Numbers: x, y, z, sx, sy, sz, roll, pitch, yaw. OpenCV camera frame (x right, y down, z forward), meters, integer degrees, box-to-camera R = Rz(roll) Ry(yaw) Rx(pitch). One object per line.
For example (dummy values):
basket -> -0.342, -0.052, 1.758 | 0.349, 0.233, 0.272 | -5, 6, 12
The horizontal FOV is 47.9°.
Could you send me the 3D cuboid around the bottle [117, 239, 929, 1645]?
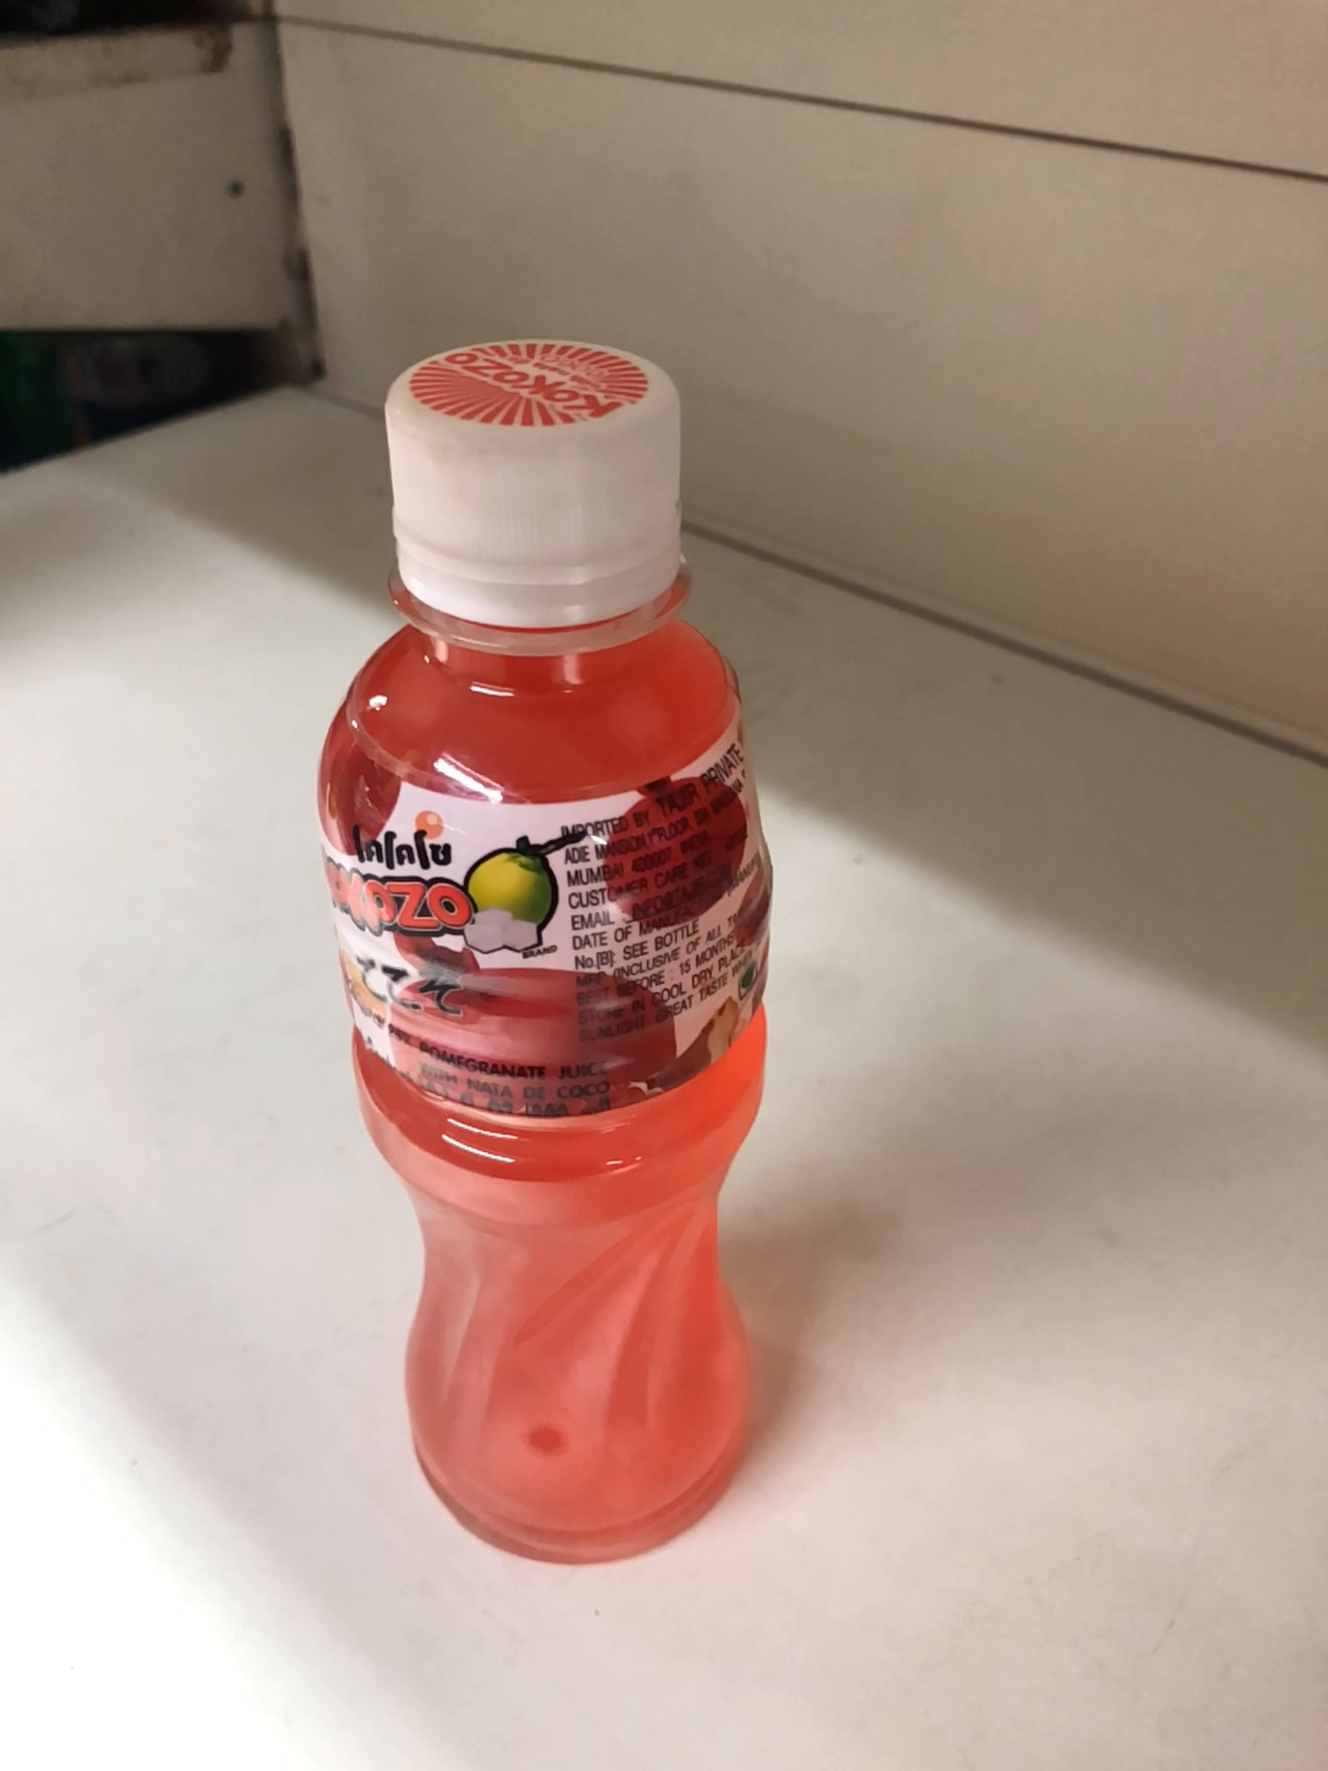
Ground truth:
bottle -> -0.015, 0.016, 0.192 | 0.060, 0.169, 0.050 | 21, 39, 25
